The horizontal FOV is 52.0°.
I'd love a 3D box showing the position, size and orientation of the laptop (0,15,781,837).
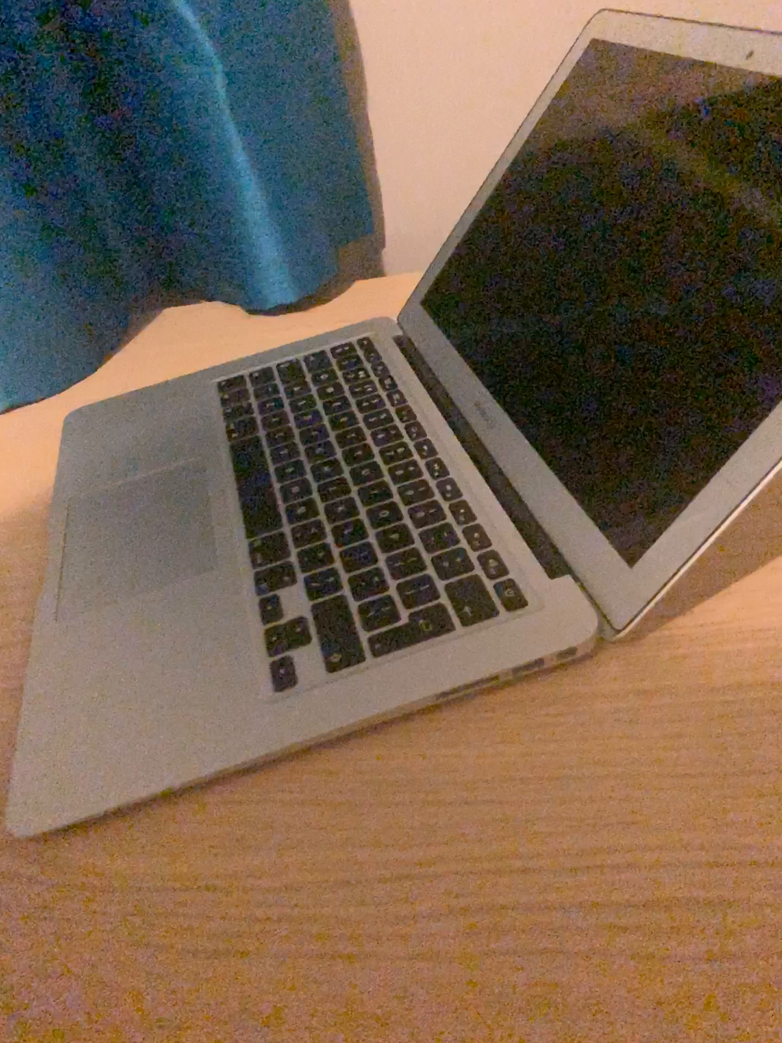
[{"bbox_3d":[-0.005,-0.093,0.363,0.368,0.144,0.304,-17,38,-6],"label":"laptop"}]
